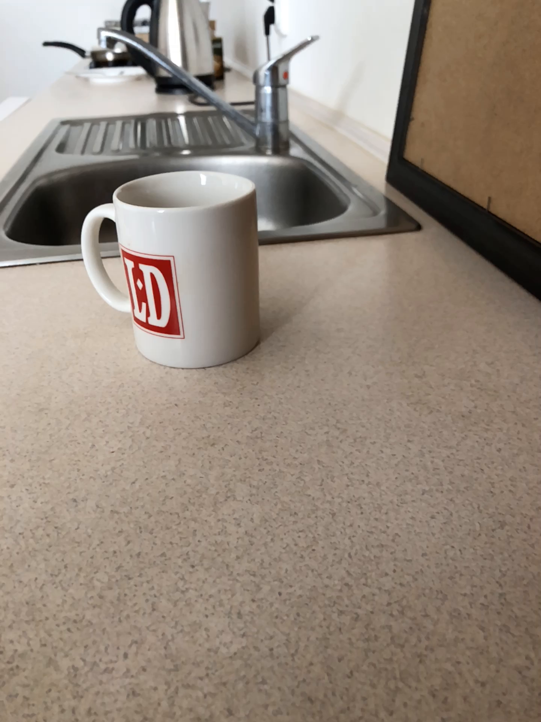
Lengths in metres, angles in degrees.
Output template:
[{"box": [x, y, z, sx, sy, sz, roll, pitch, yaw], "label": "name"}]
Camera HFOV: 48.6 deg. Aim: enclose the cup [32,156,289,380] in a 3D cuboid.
[{"box": [-0.060, -0.063, 0.371, 0.120, 0.099, 0.084, 11, 33, 21], "label": "cup"}]
